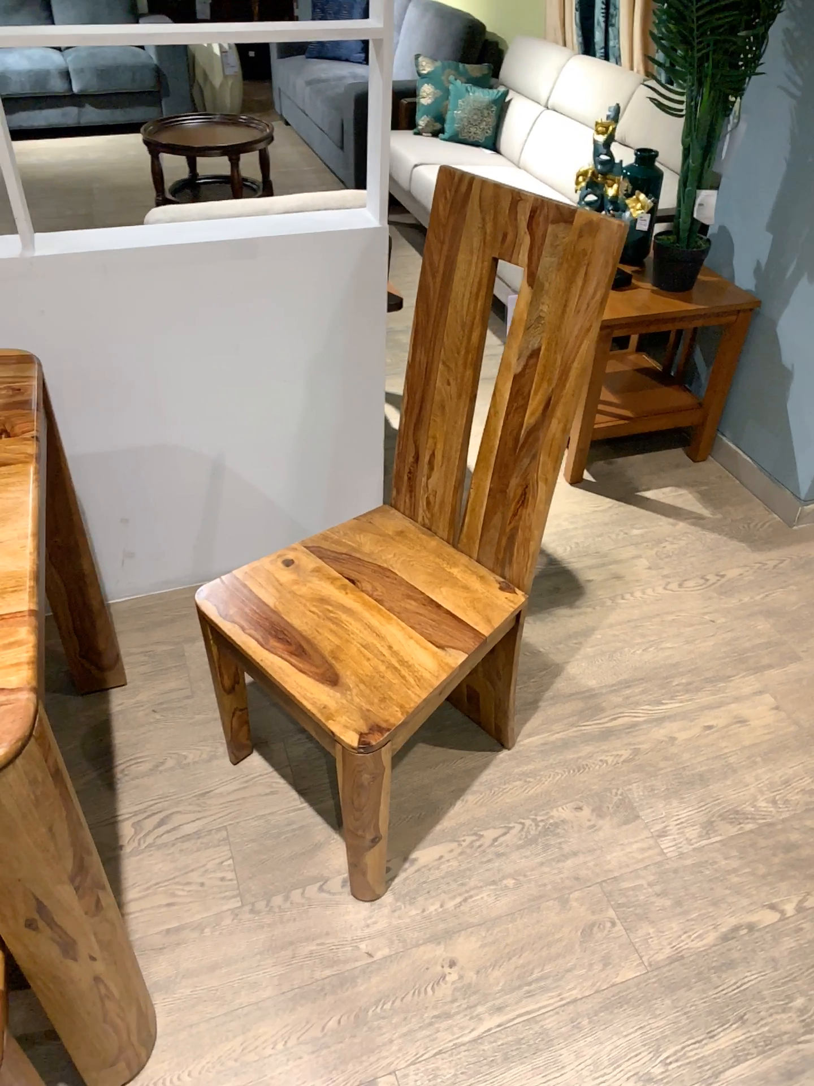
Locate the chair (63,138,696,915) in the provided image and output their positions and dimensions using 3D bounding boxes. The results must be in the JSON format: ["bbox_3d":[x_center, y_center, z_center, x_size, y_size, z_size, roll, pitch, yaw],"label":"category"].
[{"bbox_3d":[-0.032,-0.021,1.329,0.501,0.966,0.601,32,48,31],"label":"chair"}]
